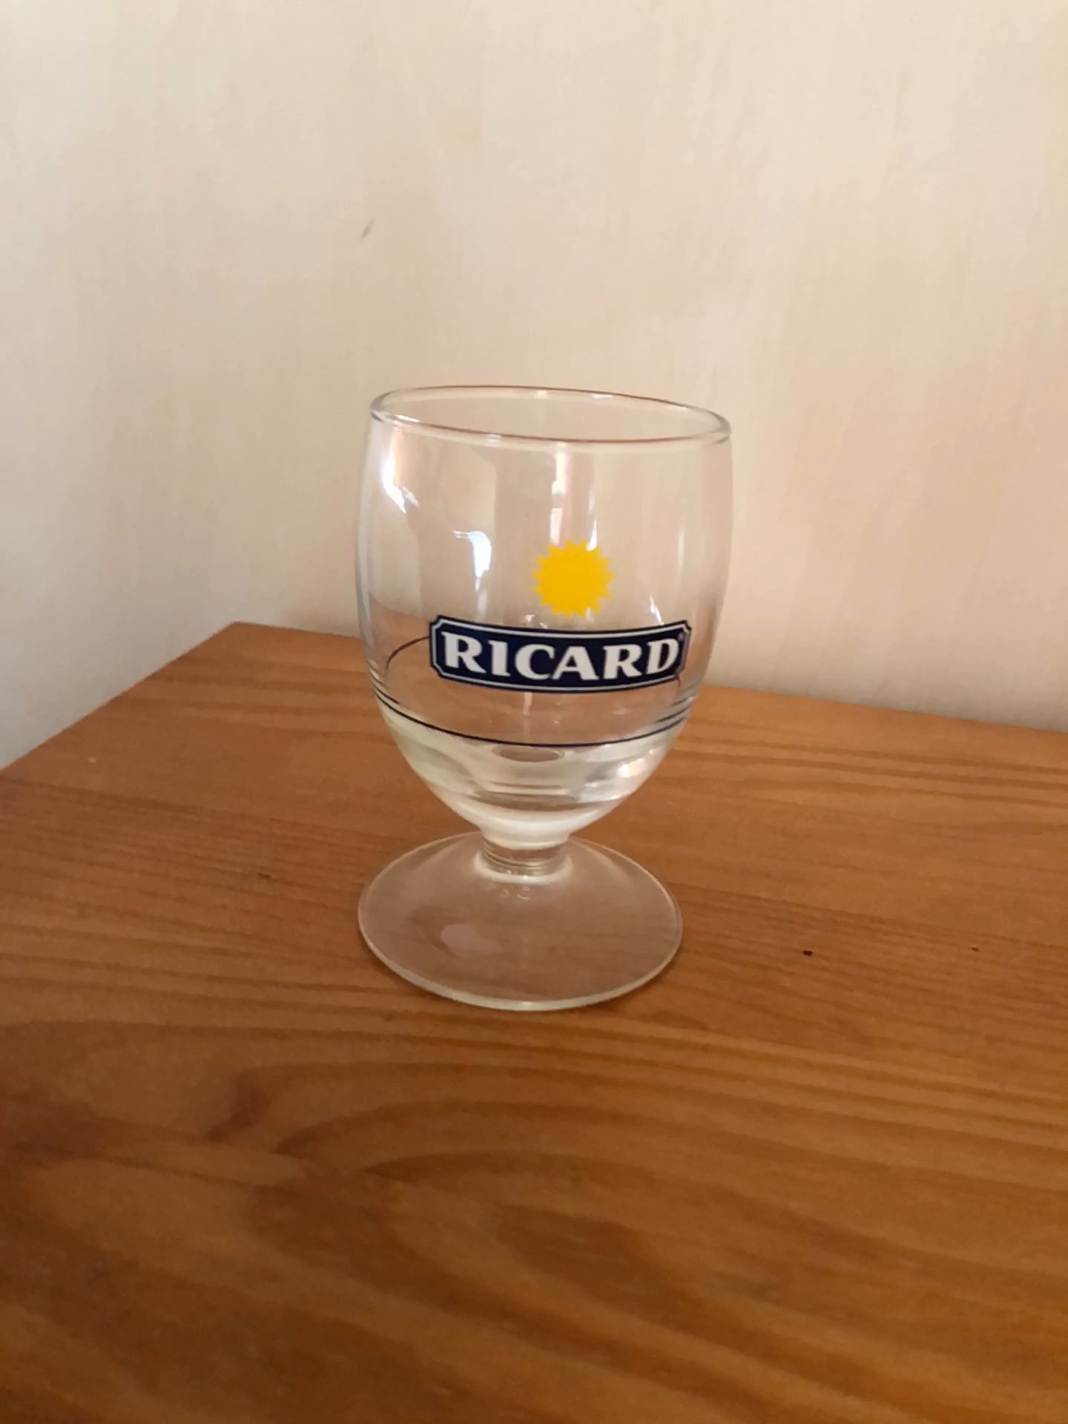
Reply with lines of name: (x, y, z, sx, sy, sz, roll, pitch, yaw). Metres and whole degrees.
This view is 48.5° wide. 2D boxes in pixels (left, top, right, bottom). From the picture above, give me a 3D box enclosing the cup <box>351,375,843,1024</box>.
cup: (0.003, -0.006, 0.219, 0.069, 0.098, 0.069, 4, 21, -2)
